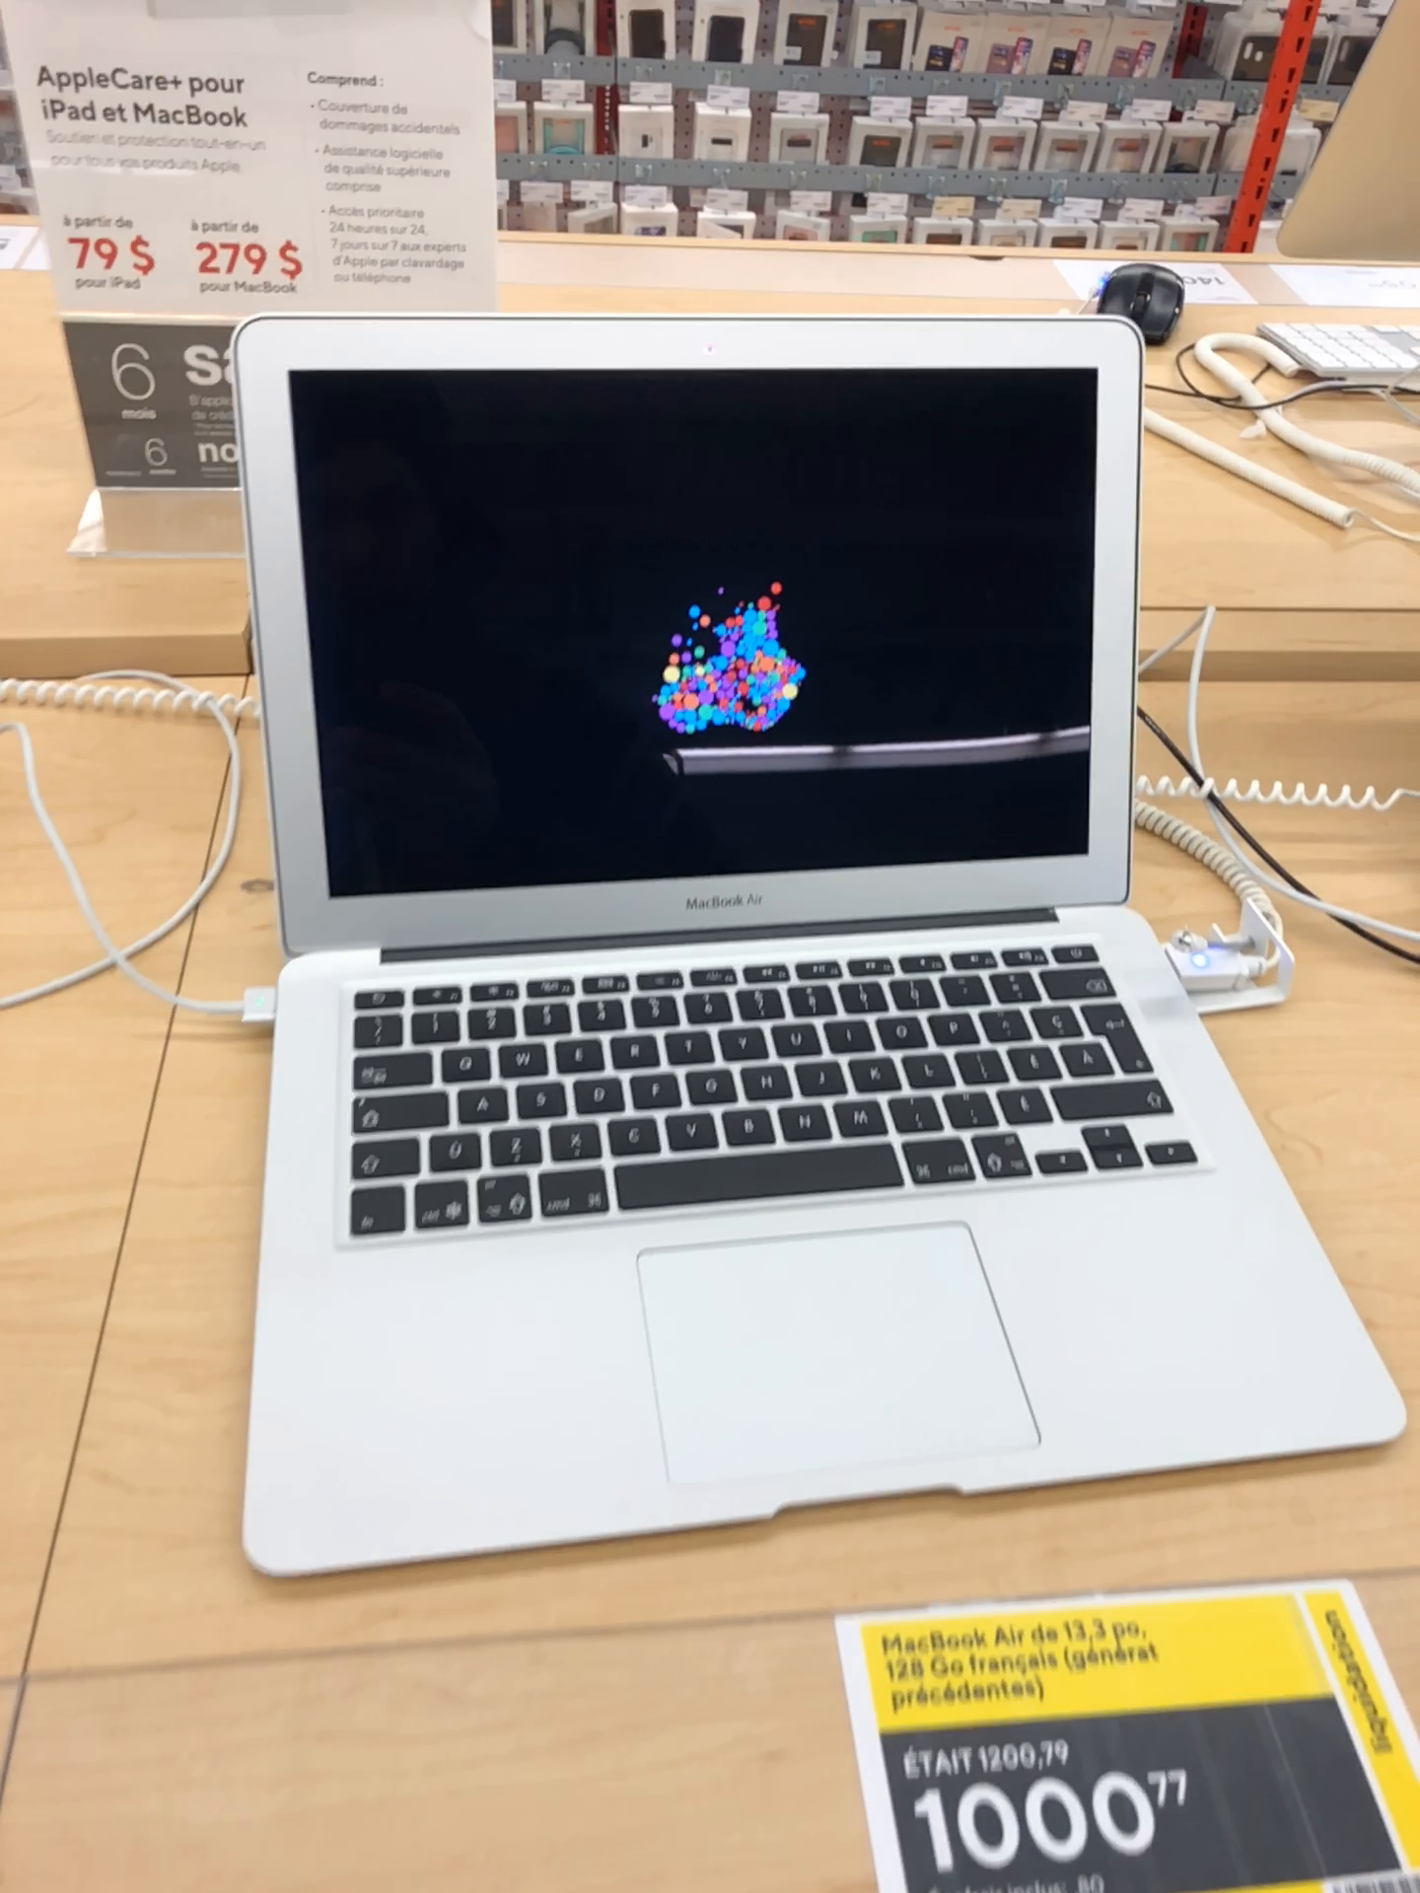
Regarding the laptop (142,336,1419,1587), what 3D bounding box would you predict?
[{"bbox_3d":[0.024,-0.031,0.467,0.305,0.186,0.325,-4,40,-11],"label":"laptop"}]
